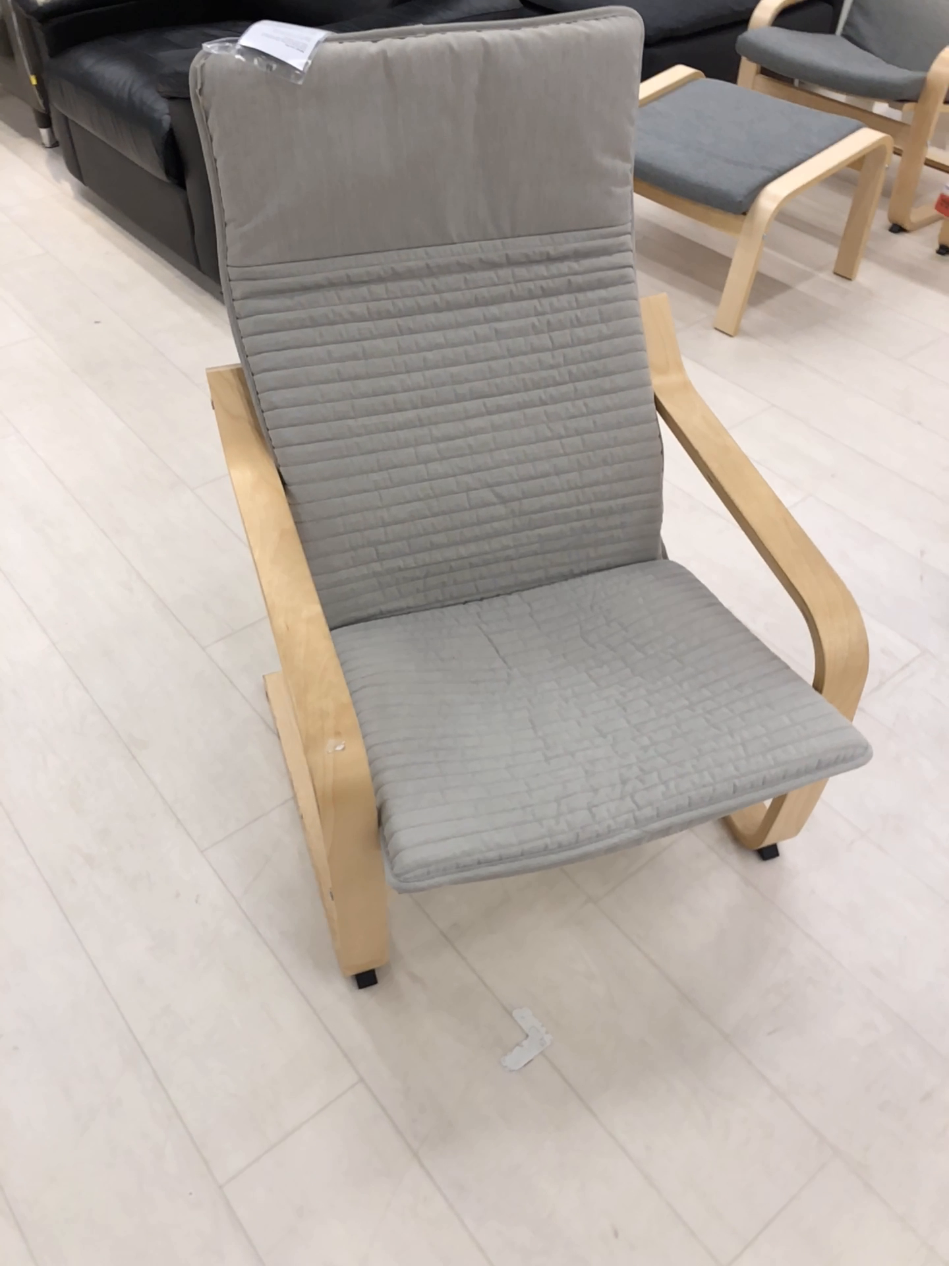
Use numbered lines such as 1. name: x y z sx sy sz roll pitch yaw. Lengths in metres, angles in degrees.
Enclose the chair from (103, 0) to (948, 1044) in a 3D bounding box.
1. chair: 0.072 -0.164 1.240 0.730 0.996 0.702 -12 46 -13
